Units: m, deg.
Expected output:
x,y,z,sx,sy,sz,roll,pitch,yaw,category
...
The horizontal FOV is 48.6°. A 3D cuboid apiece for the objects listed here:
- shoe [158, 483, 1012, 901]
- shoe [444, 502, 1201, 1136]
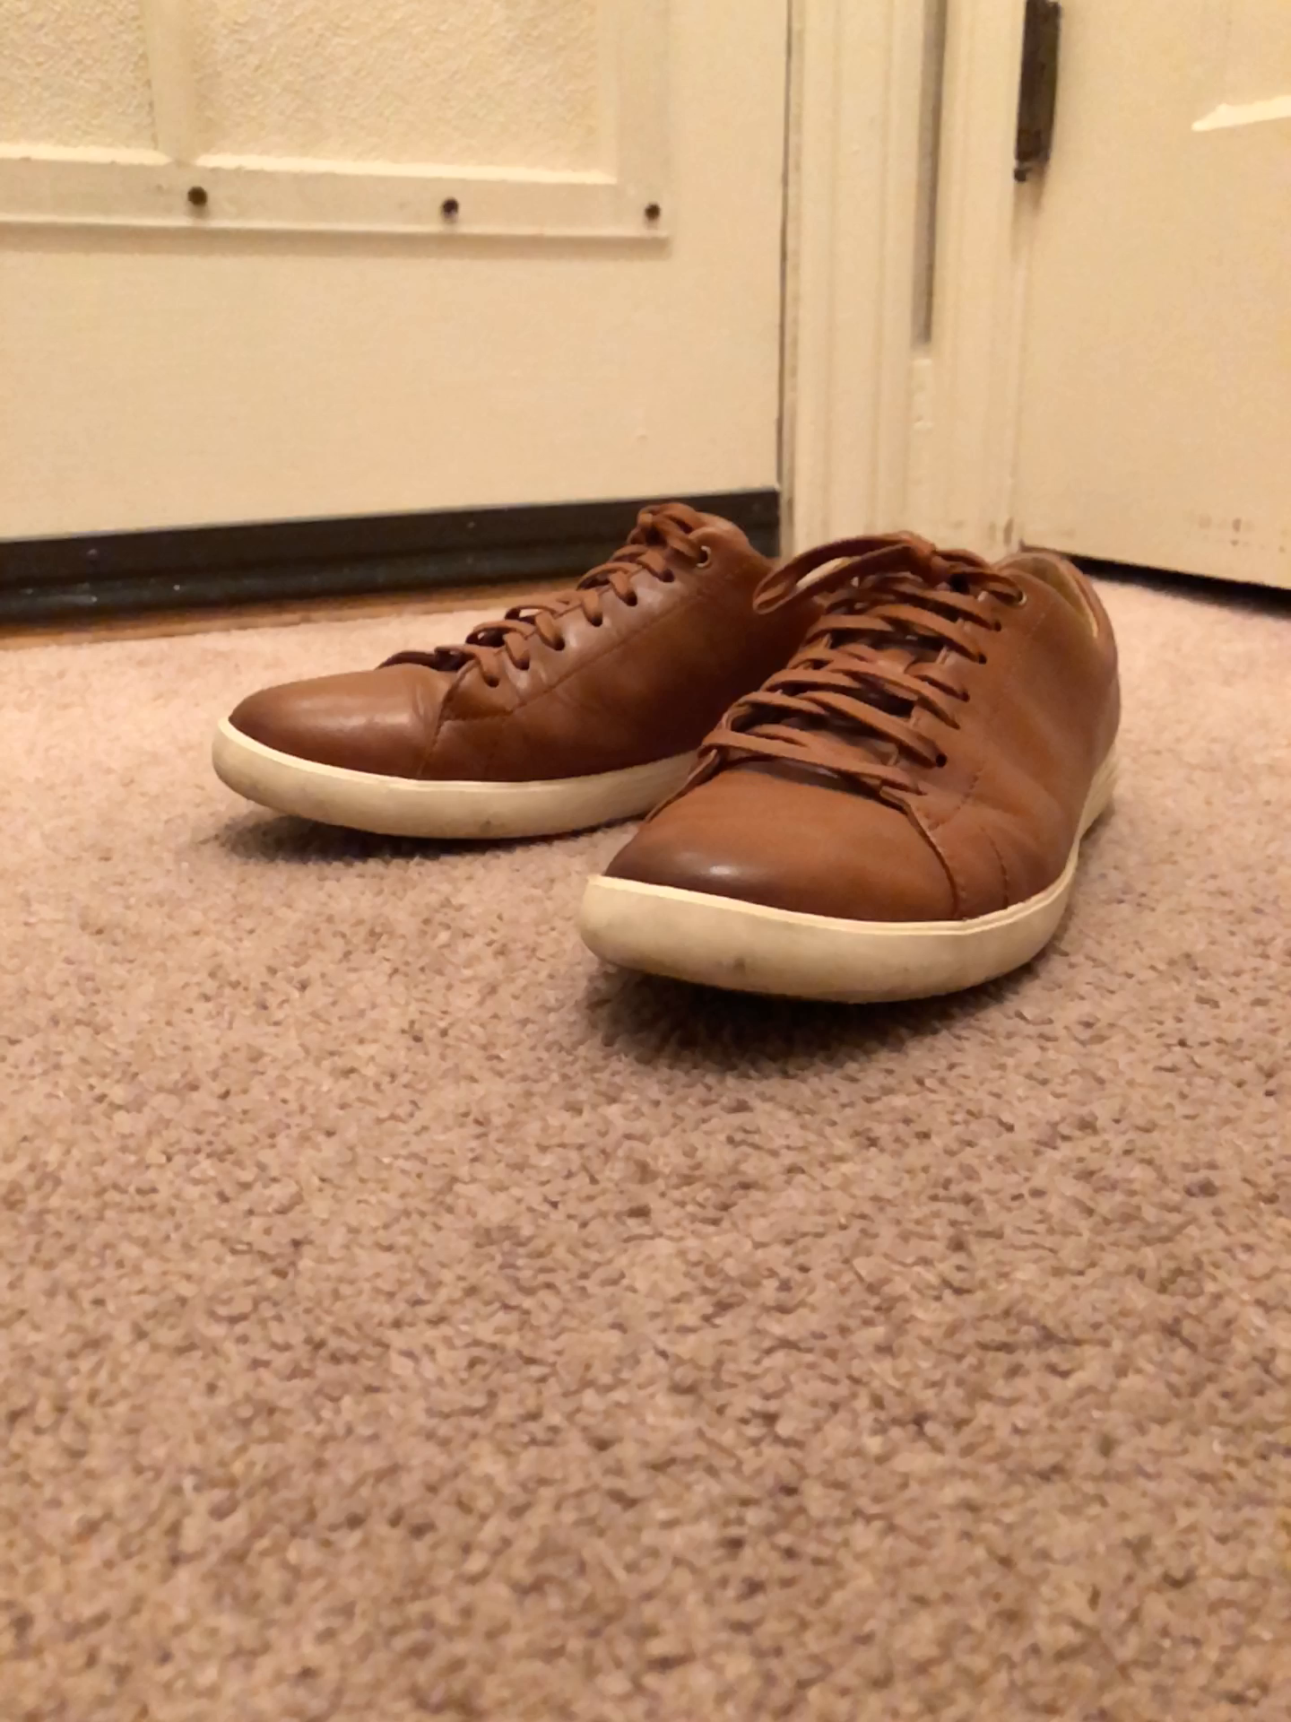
x,y,z,sx,sy,sz,roll,pitch,yaw,category
-0.016,-0.077,0.530,0.285,0.102,0.117,-11,21,-28,shoe
0.075,-0.041,0.424,0.117,0.100,0.286,10,21,27,shoe
